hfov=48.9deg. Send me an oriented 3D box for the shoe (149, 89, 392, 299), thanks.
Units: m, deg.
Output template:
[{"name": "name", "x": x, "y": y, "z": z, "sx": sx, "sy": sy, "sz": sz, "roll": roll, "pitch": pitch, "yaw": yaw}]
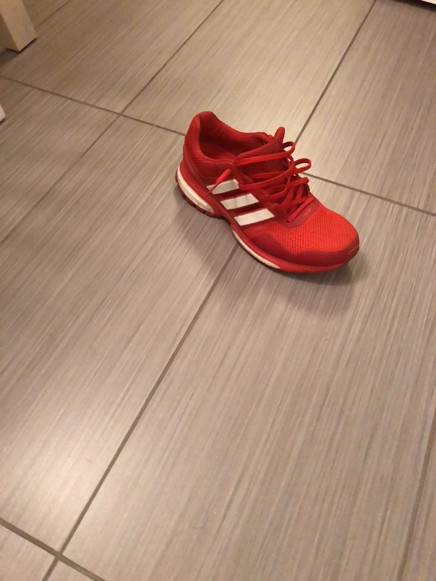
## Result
[{"name": "shoe", "x": 0.058, "y": -0.136, "z": 0.635, "sx": 0.290, "sy": 0.100, "sz": 0.120, "roll": 38, "pitch": 65, "yaw": 22}]
